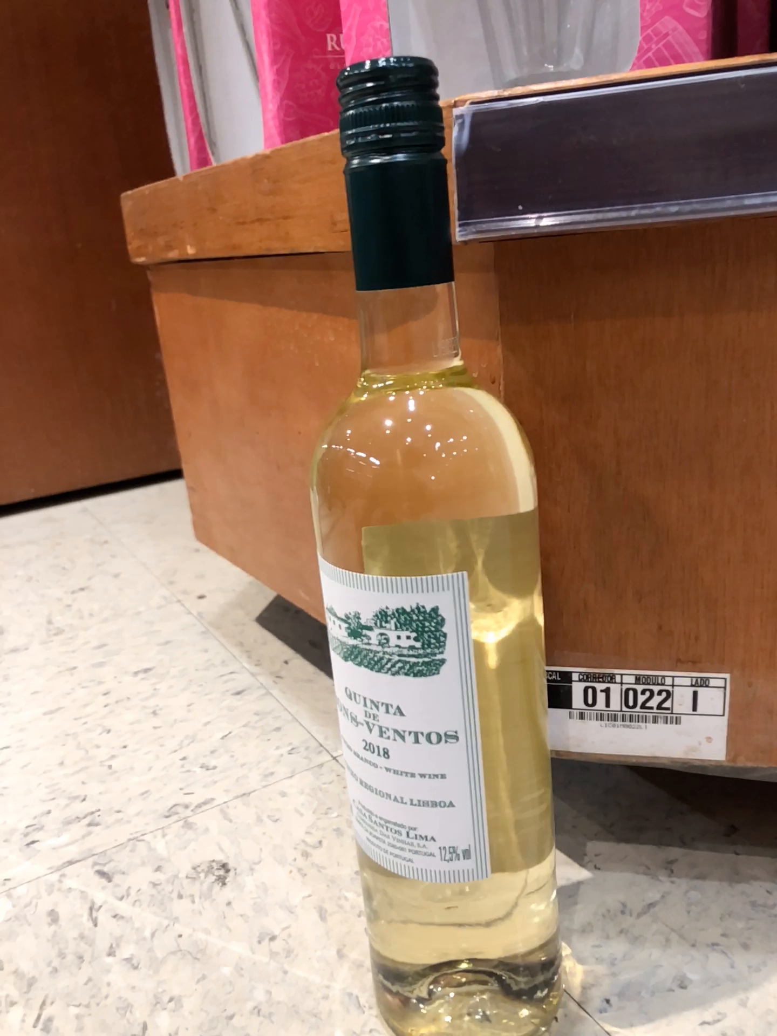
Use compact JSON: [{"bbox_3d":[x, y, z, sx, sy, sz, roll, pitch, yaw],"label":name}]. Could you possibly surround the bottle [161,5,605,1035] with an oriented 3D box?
[{"bbox_3d":[0.011,0.023,0.278,0.080,0.308,0.080,-6,17,2],"label":"bottle"}]
